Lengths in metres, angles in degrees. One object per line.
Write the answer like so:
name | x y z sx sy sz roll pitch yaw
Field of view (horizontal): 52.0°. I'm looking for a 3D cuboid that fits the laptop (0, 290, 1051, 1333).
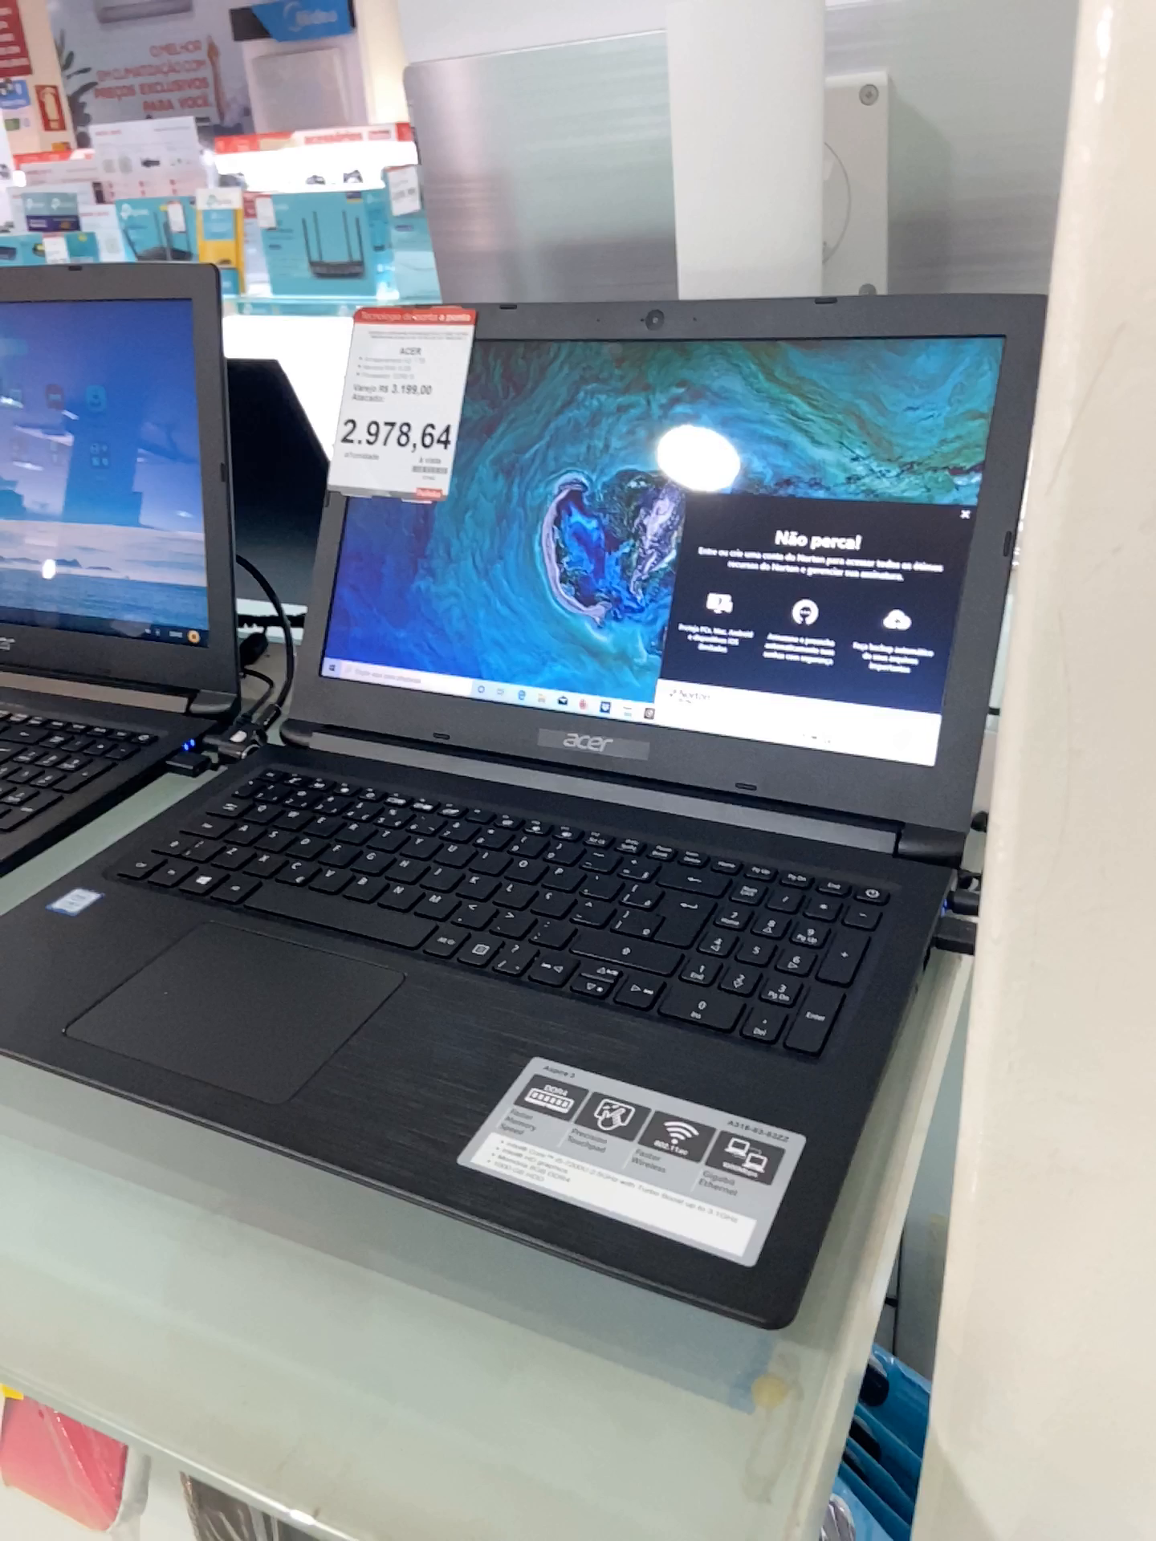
laptop | -0.035 -0.057 0.491 0.369 0.205 0.377 9 31 25
